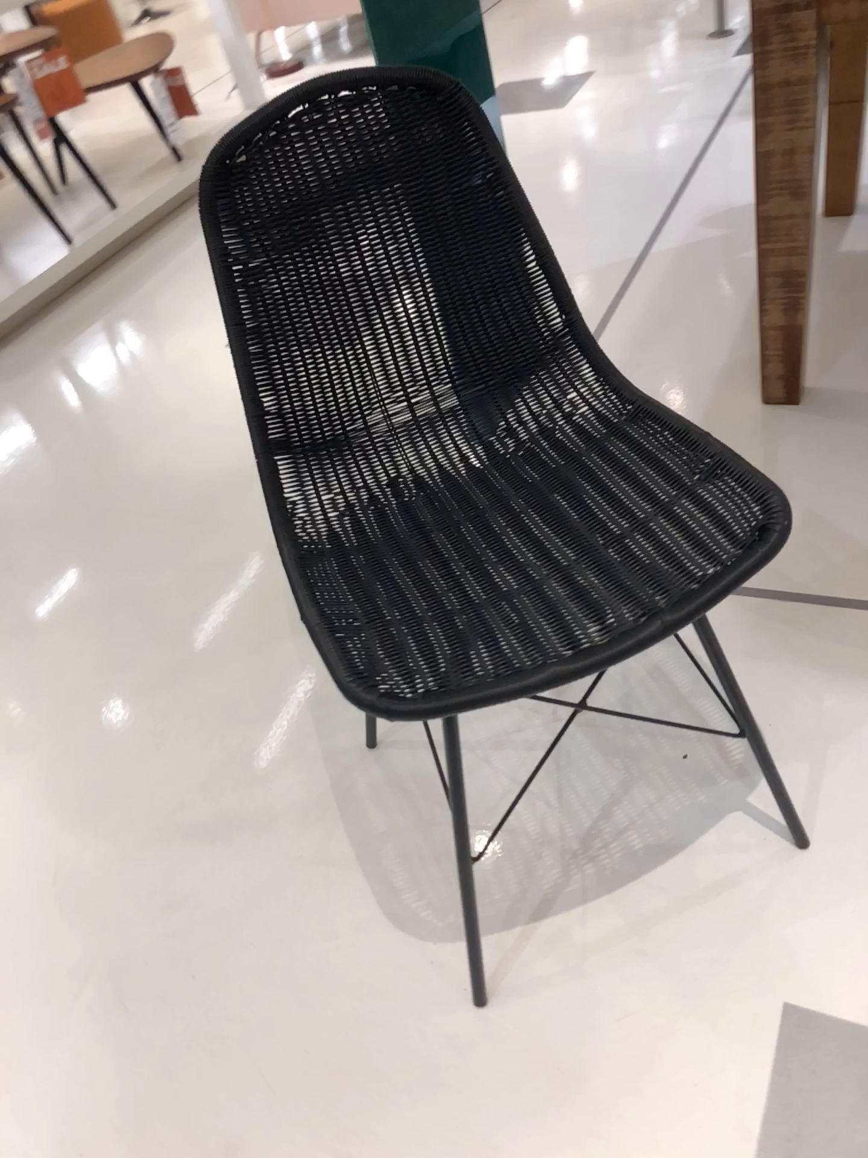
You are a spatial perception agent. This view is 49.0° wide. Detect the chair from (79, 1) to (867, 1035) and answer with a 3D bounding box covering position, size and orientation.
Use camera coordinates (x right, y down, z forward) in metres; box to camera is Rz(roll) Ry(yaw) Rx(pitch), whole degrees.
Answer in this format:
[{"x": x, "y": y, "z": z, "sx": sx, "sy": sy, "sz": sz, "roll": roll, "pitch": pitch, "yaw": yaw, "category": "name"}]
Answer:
[{"x": 0.061, "y": -0.063, "z": 0.997, "sx": 0.480, "sy": 0.794, "sz": 0.554, "roll": -24, "pitch": 39, "yaw": -8, "category": "chair"}]
